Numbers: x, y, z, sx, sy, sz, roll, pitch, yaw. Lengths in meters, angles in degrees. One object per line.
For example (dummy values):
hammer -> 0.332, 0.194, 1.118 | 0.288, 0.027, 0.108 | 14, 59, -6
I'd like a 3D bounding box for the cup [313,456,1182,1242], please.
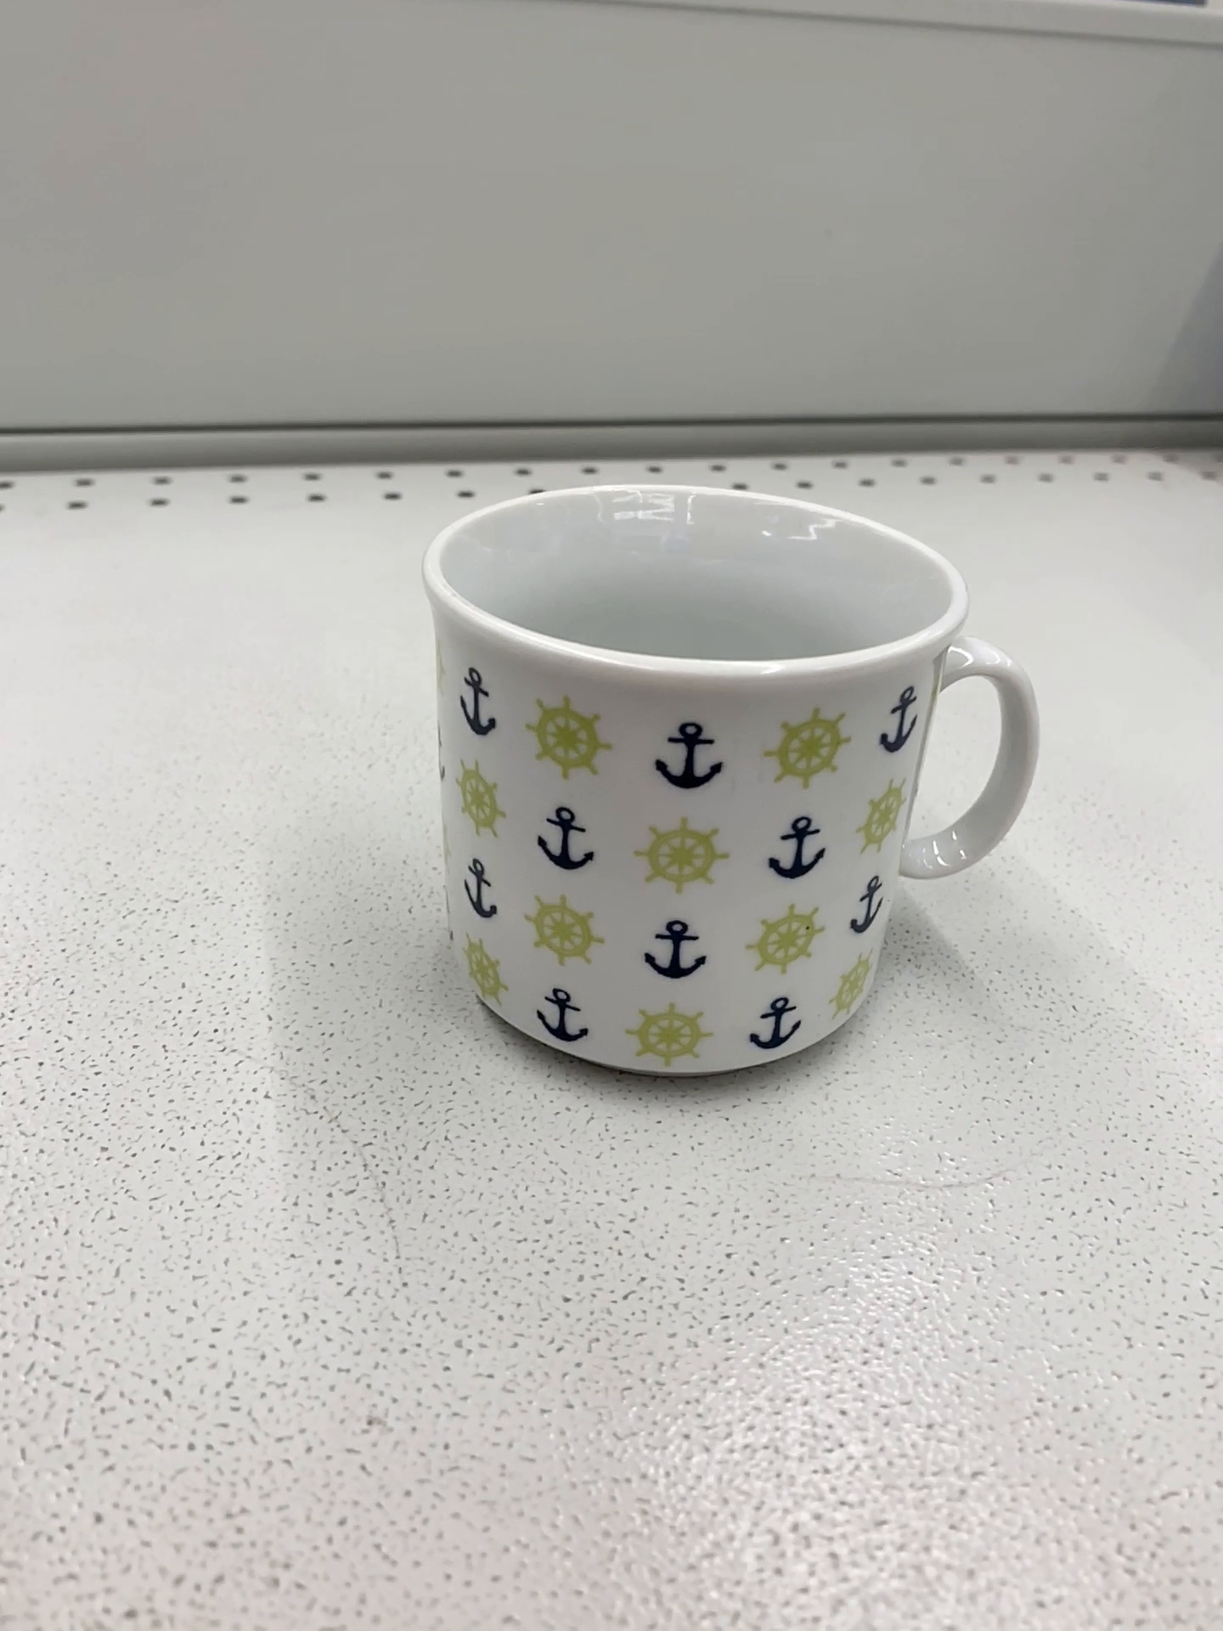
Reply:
cup -> 0.015, -0.005, 0.200 | 0.096, 0.076, 0.078 | -14, 33, -26
